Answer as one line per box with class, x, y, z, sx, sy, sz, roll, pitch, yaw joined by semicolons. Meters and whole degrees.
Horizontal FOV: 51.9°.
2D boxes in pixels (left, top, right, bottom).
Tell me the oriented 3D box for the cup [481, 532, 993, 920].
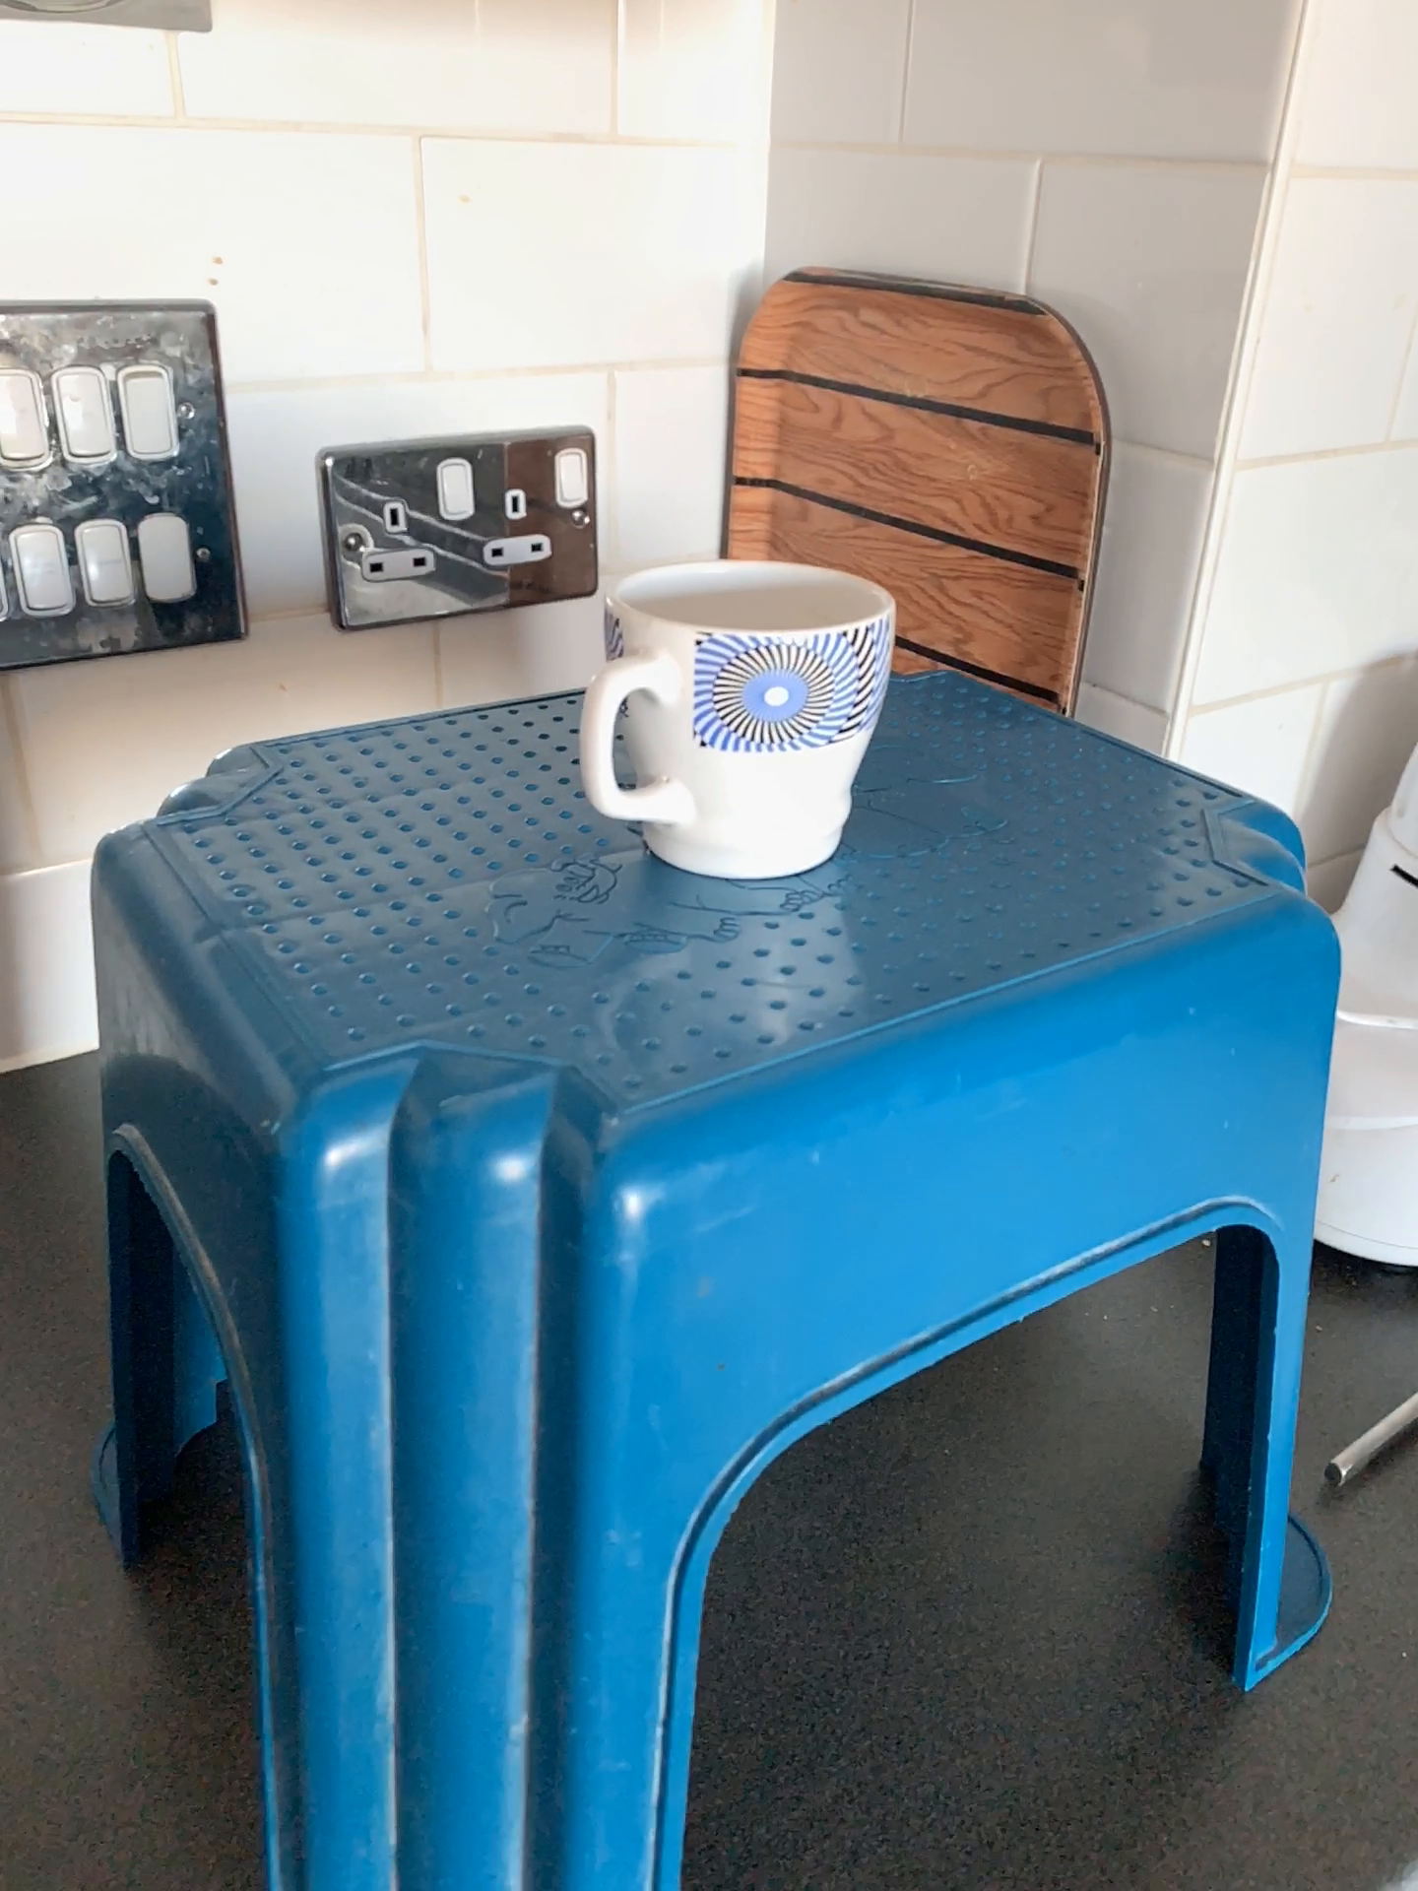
cup;0.003;-0.055;0.335;0.085;0.055;0.079;2;28;-1
